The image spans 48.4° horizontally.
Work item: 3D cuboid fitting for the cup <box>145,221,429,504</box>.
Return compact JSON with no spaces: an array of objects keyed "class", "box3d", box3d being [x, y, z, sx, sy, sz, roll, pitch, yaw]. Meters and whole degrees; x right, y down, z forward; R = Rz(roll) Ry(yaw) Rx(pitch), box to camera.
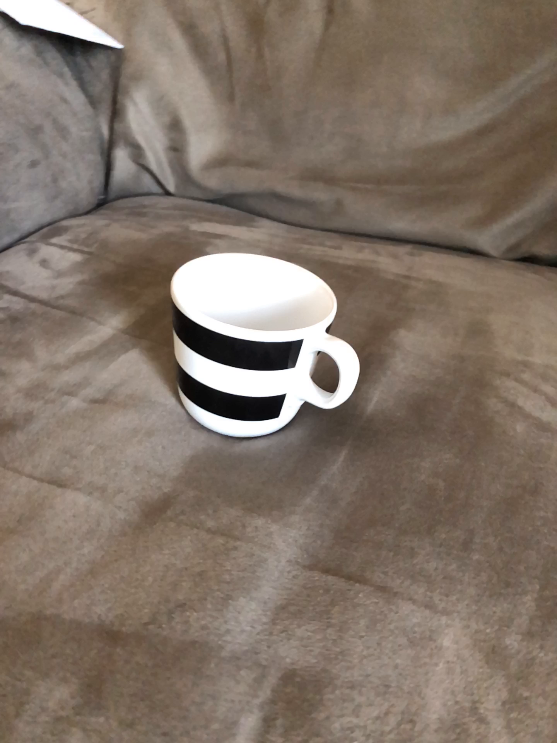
[{"class":"cup","box3d":[0.000,-0.011,0.318,0.110,0.080,0.080,31,42,28]}]
